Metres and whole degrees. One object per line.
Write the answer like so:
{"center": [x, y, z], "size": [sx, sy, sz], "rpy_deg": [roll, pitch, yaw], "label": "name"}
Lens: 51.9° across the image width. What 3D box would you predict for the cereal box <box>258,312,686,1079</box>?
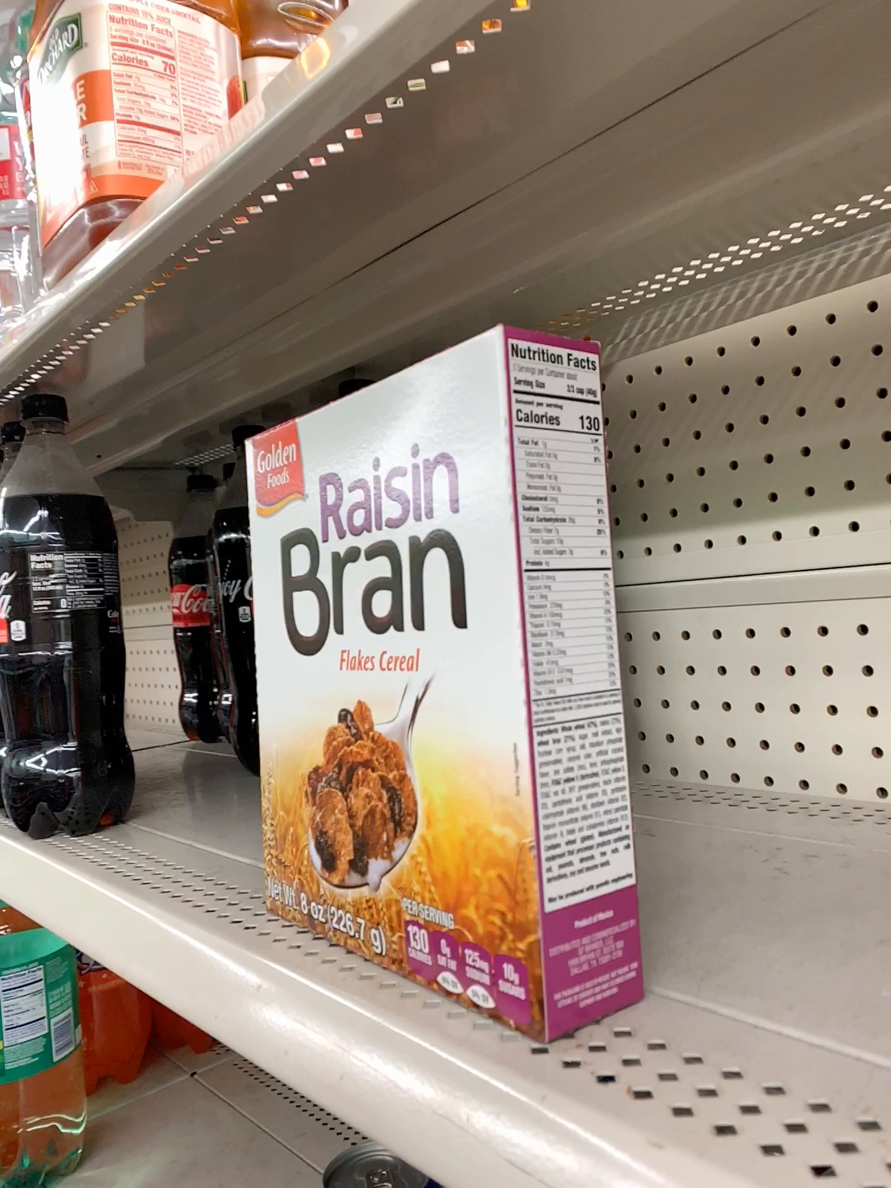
{"center": [-0.005, 0.033, 0.367], "size": [0.050, 0.230, 0.190], "rpy_deg": [-2, -2, -36], "label": "cereal box"}
